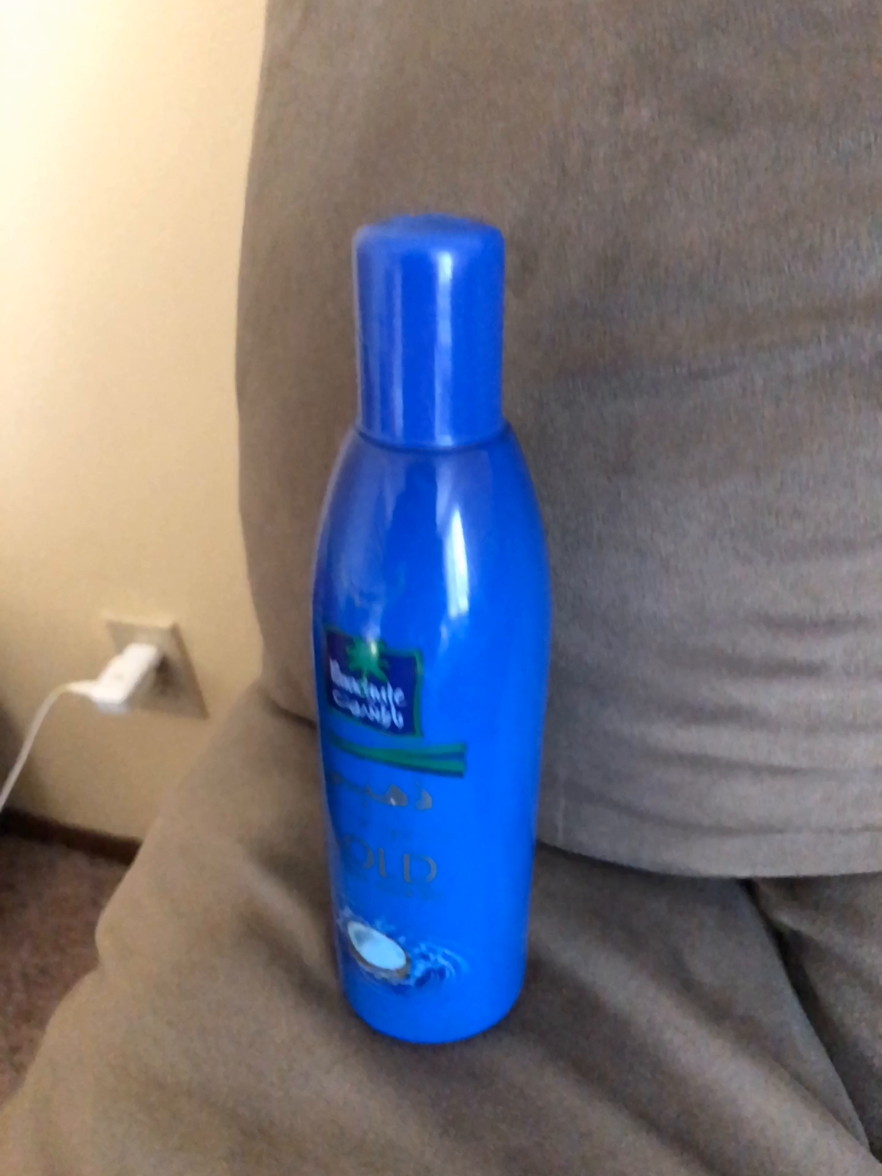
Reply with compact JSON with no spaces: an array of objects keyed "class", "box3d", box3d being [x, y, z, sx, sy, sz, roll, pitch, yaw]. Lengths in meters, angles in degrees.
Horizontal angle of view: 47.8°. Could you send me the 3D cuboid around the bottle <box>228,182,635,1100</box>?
[{"class":"bottle","box3d":[-0.001,0.016,0.206,0.050,0.180,0.050,1,27,0]}]
